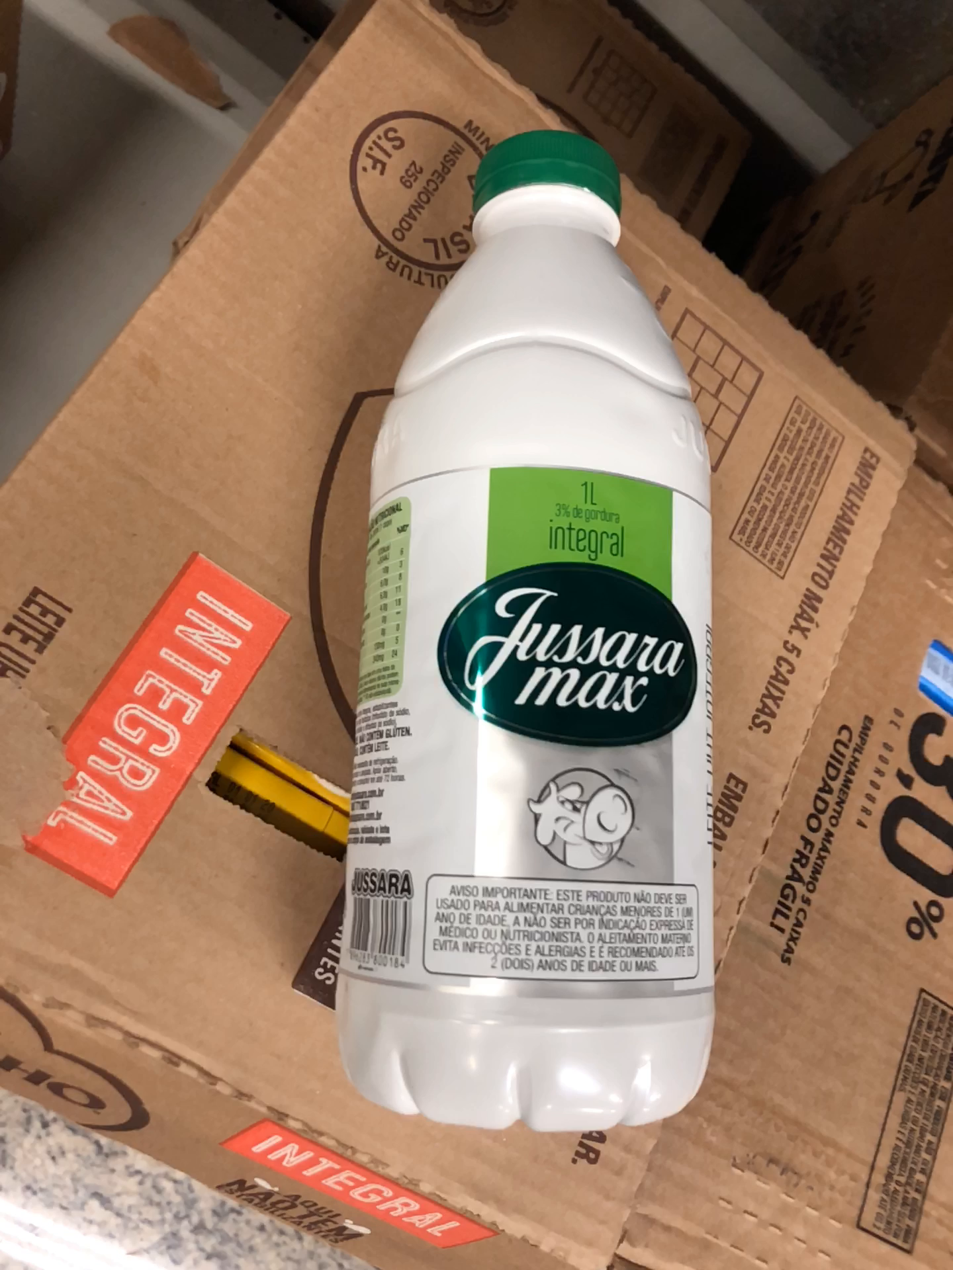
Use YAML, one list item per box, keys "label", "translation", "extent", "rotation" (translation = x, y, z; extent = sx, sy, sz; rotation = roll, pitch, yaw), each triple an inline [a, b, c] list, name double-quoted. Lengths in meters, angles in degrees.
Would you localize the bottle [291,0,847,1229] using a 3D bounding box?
- label: "bottle"
  translation: [0.022, -0.009, 0.240]
  extent: [0.090, 0.060, 0.240]
  rotation: [8, 83, -22]
